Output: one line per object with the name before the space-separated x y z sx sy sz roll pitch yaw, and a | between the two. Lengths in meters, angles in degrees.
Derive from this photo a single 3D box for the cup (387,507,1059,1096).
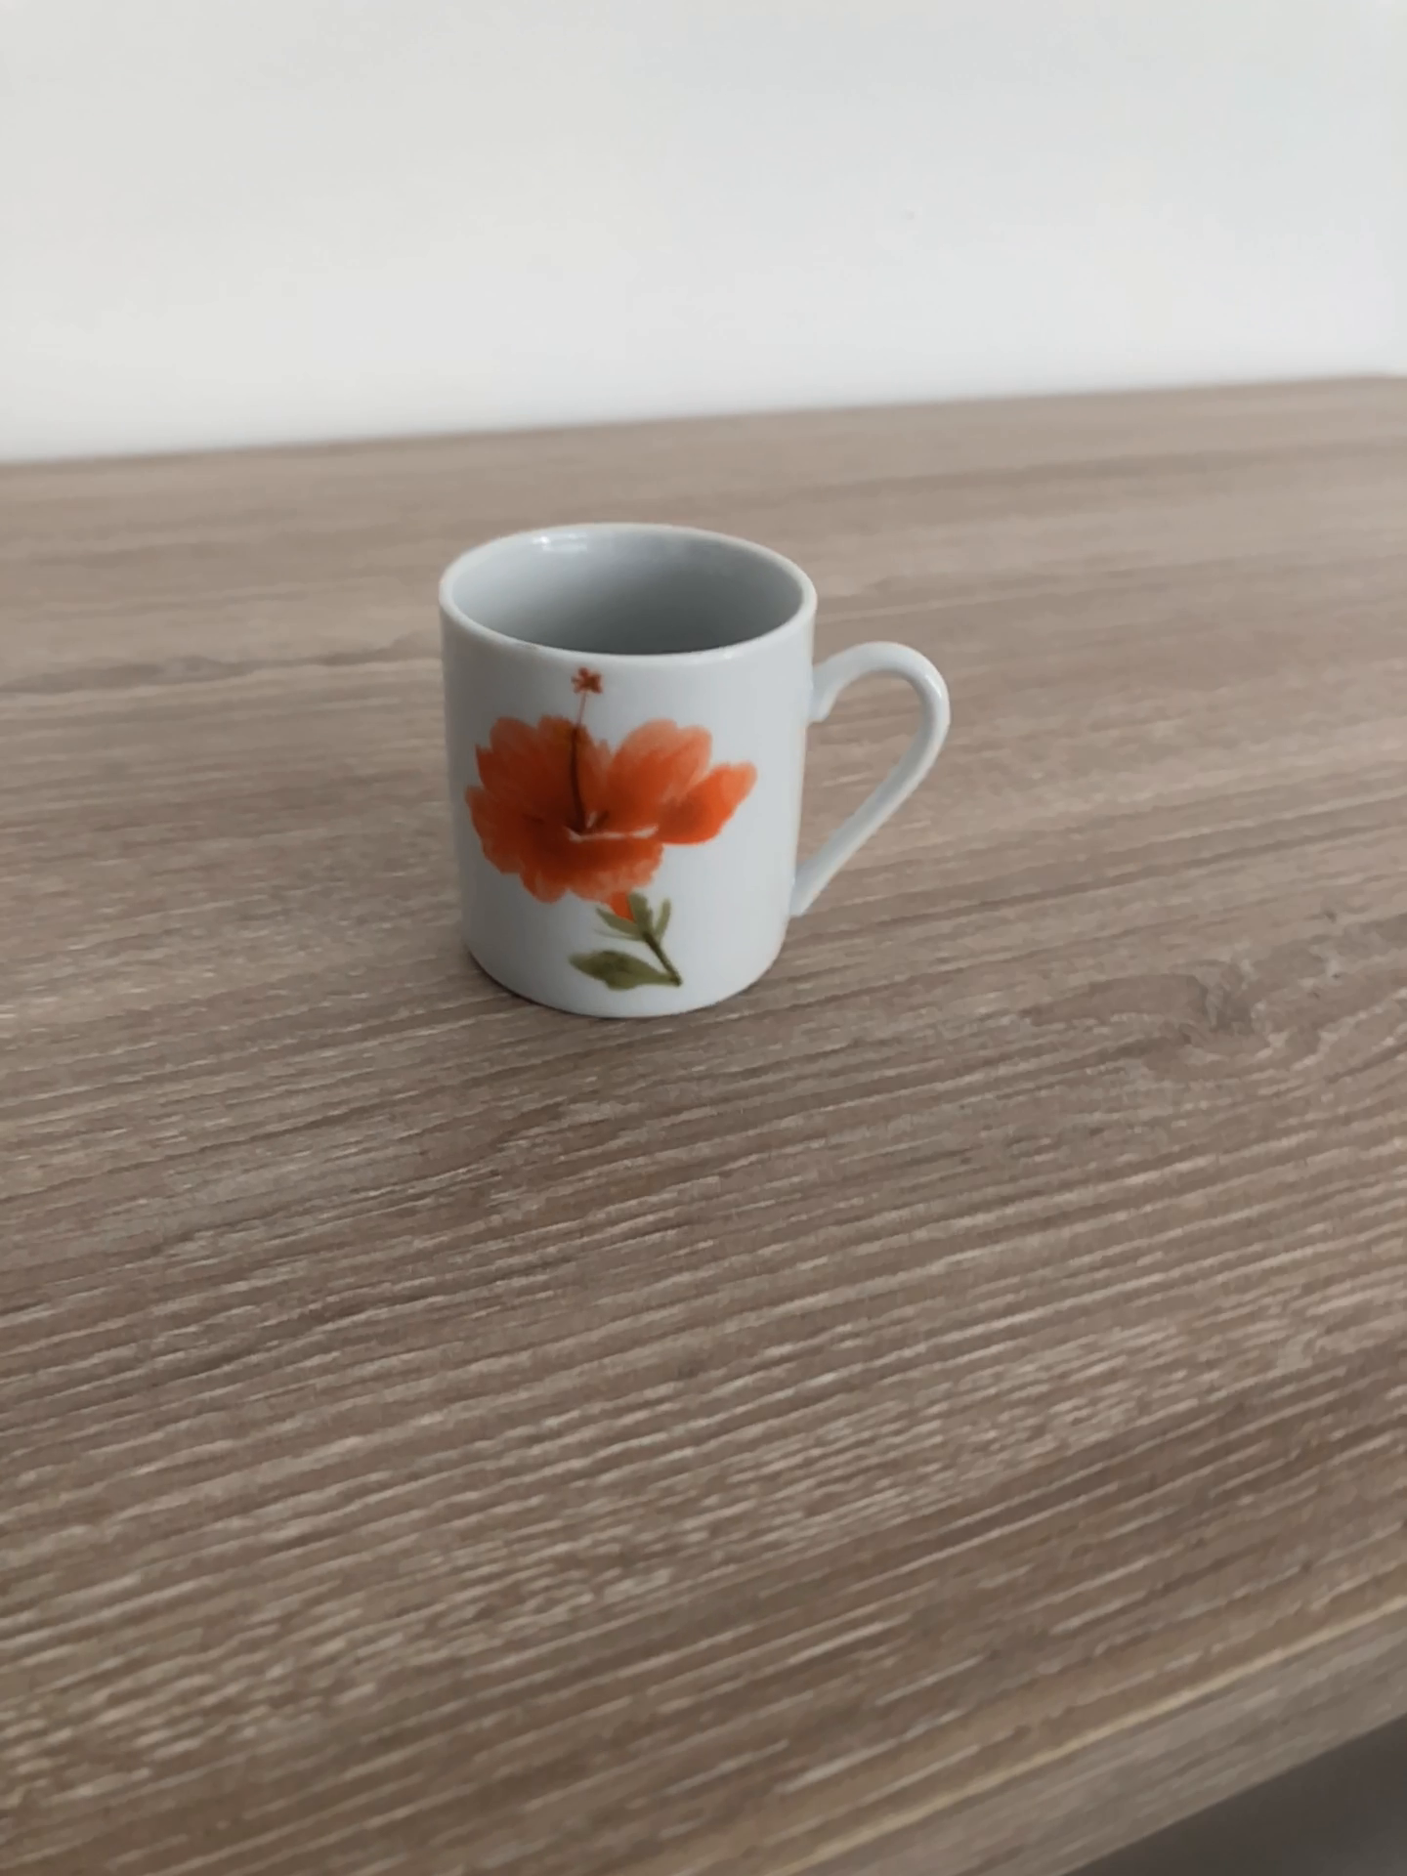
cup | 0.003 -0.022 0.228 0.080 0.060 0.060 3 32 2
